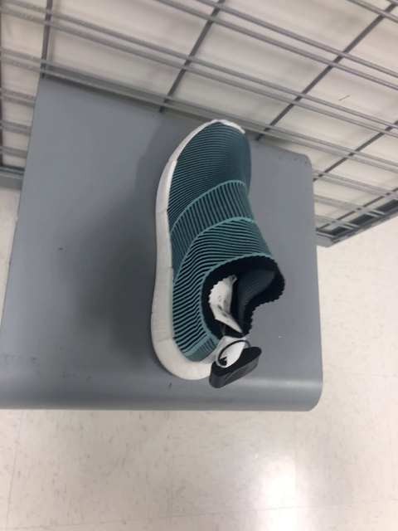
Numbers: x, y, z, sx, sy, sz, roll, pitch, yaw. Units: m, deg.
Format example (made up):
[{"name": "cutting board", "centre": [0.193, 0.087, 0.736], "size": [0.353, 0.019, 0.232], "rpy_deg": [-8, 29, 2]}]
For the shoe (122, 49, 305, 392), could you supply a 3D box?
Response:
[{"name": "shoe", "centre": [0.017, -0.033, 0.450], "size": [0.120, 0.129, 0.300], "rpy_deg": [12, 72, -22]}]
